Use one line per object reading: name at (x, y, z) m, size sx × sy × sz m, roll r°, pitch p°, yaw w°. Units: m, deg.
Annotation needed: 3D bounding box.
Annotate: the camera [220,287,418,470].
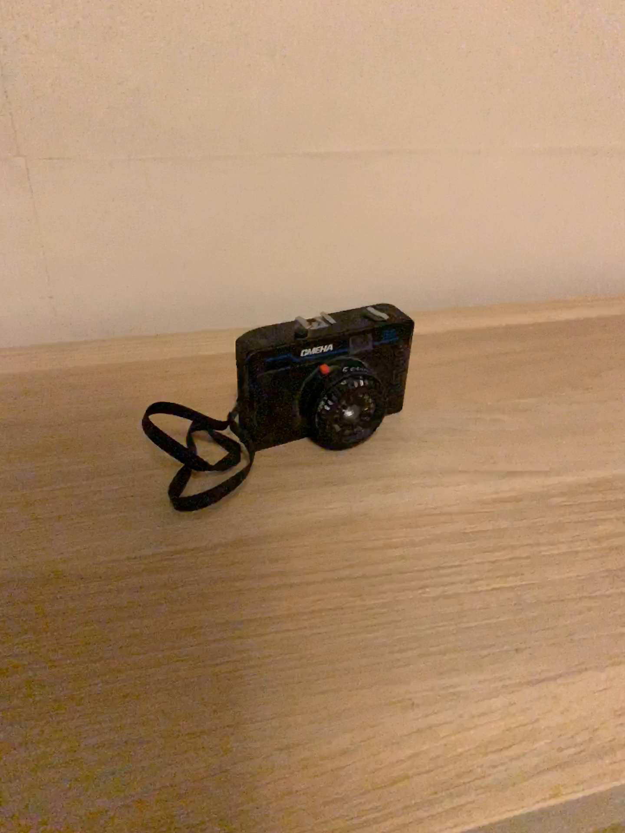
camera at (0.002, -0.025, 0.406) m, size 0.110 × 0.089 × 0.040 m, roll -12°, pitch 39°, yaw -21°
